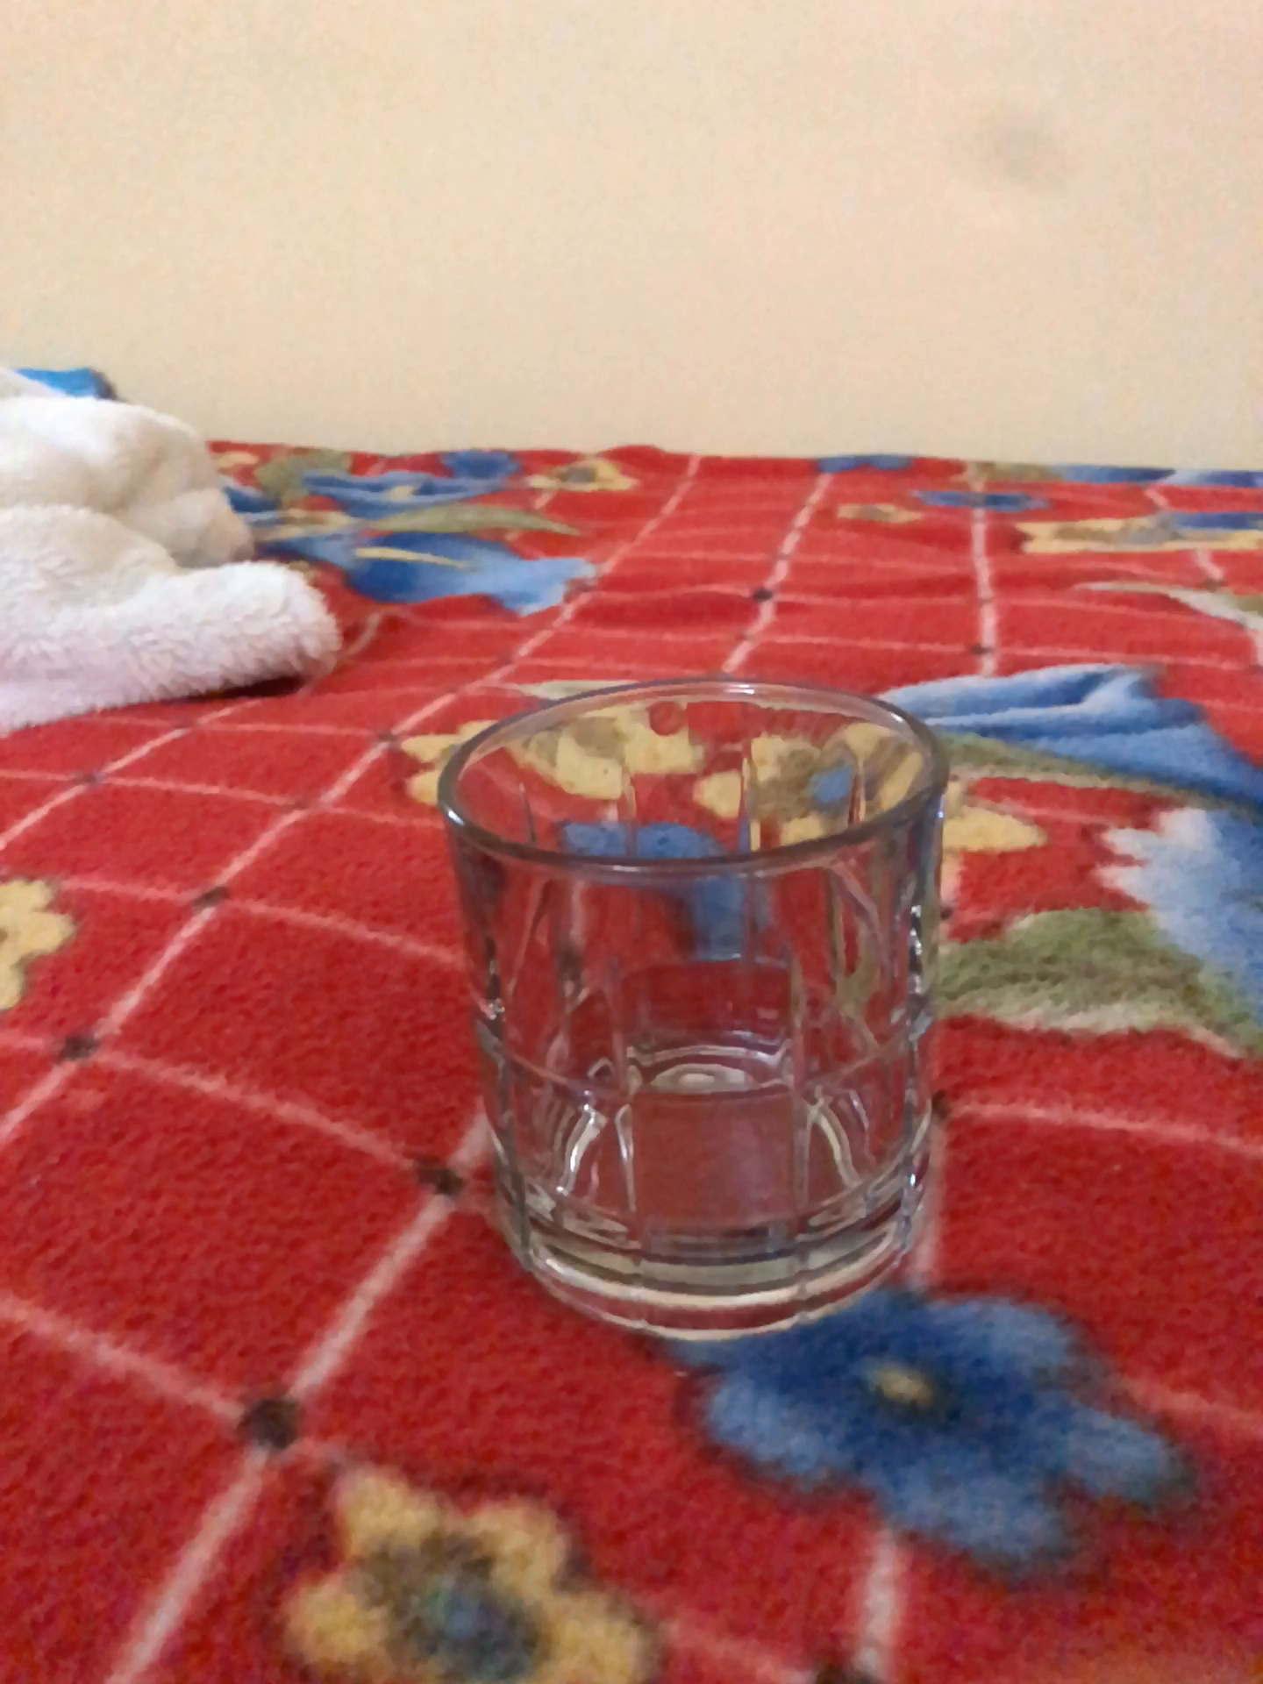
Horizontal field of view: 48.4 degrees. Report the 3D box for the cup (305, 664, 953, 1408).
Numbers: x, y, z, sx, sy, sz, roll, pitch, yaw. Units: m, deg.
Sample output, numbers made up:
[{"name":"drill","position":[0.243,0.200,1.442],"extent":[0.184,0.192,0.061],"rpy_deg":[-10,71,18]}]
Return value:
[{"name":"cup","position":[0.008,0.026,0.244],"extent":[0.083,0.088,0.084],"rpy_deg":[-3,24,1]}]
